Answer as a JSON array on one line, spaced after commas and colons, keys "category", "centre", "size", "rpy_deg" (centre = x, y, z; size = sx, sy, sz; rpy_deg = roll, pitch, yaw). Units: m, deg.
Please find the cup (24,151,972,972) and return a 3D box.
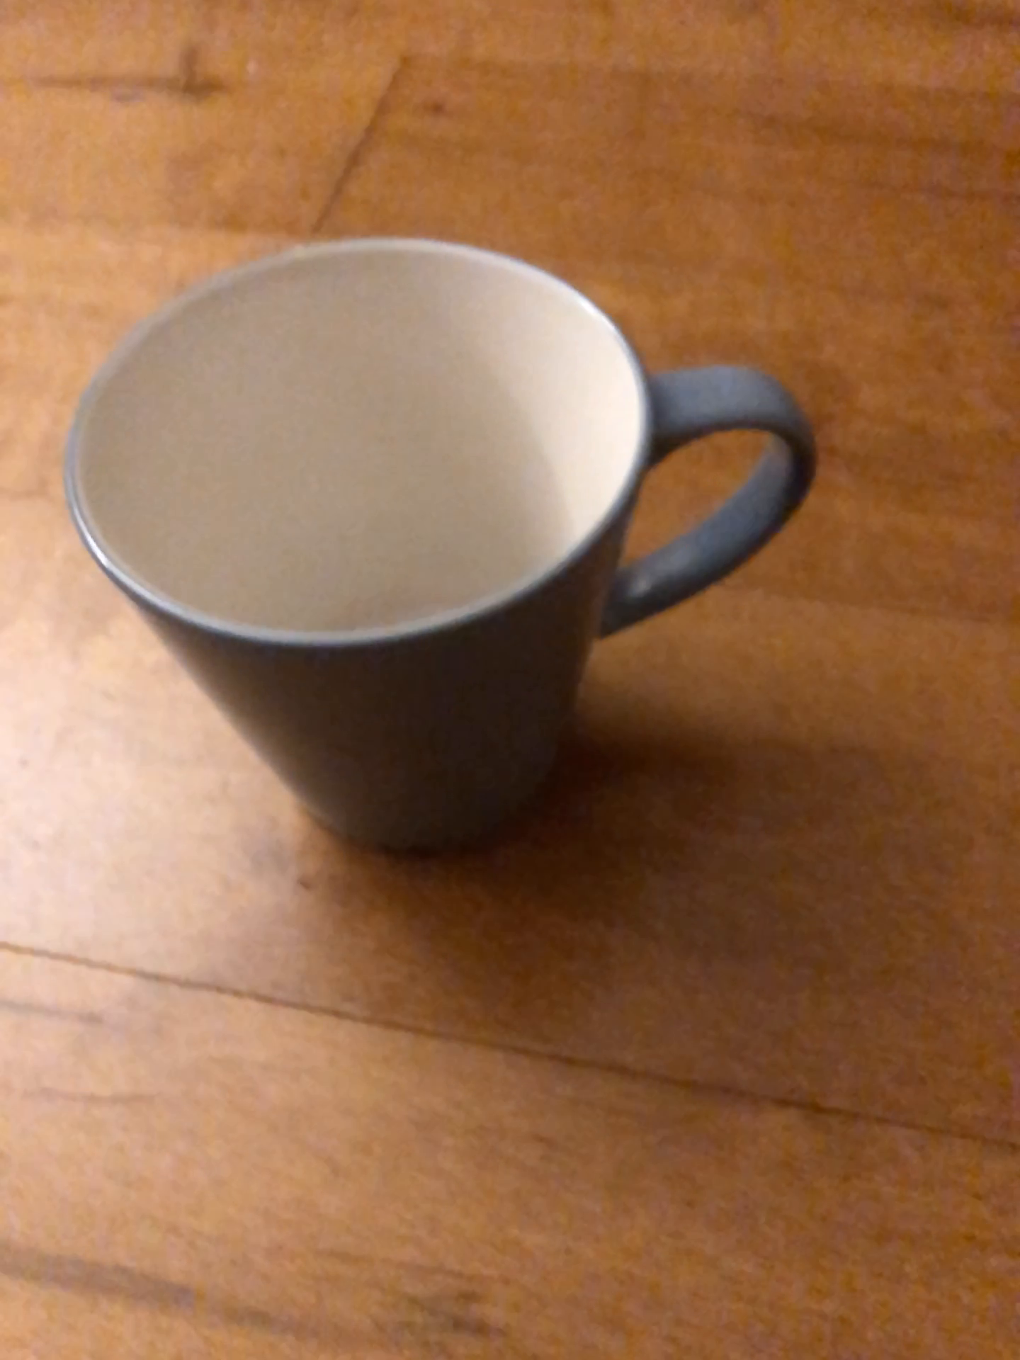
[{"category": "cup", "centre": [-0.008, -0.022, 0.234], "size": [0.140, 0.099, 0.101], "rpy_deg": [-13, 55, -5]}]
